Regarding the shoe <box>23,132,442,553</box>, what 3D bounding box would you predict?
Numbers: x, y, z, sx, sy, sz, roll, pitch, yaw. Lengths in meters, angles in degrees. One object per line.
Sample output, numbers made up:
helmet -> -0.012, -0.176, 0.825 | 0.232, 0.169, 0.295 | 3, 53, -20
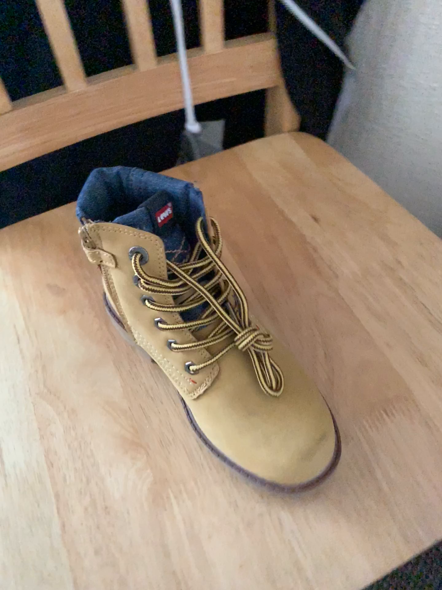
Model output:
shoe -> -0.005, 0.029, 0.301 | 0.100, 0.139, 0.231 | -36, 64, -18
